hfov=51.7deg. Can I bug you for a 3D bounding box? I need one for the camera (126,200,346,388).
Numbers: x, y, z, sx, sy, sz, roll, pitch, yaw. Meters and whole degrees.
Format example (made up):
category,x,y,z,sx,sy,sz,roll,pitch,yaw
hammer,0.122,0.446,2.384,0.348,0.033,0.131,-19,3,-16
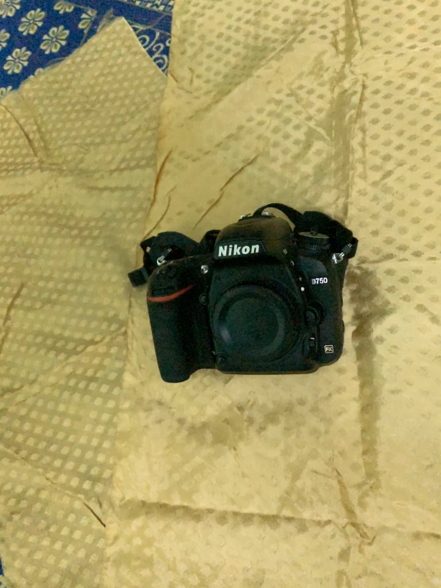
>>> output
category,x,y,z,sx,sy,sz,roll,pitch,yaw
camera,0.017,-0.001,0.326,0.130,0.073,0.110,-3,104,19
